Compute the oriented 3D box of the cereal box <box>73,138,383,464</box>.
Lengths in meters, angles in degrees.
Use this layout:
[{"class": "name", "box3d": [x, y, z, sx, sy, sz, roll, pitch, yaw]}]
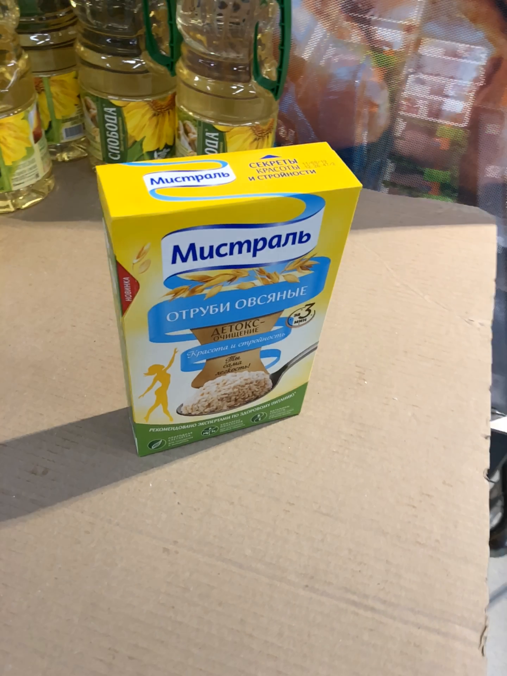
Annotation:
[{"class": "cereal box", "box3d": [-0.019, -0.012, 0.362, 0.150, 0.209, 0.050, -12, 50, -16]}]
